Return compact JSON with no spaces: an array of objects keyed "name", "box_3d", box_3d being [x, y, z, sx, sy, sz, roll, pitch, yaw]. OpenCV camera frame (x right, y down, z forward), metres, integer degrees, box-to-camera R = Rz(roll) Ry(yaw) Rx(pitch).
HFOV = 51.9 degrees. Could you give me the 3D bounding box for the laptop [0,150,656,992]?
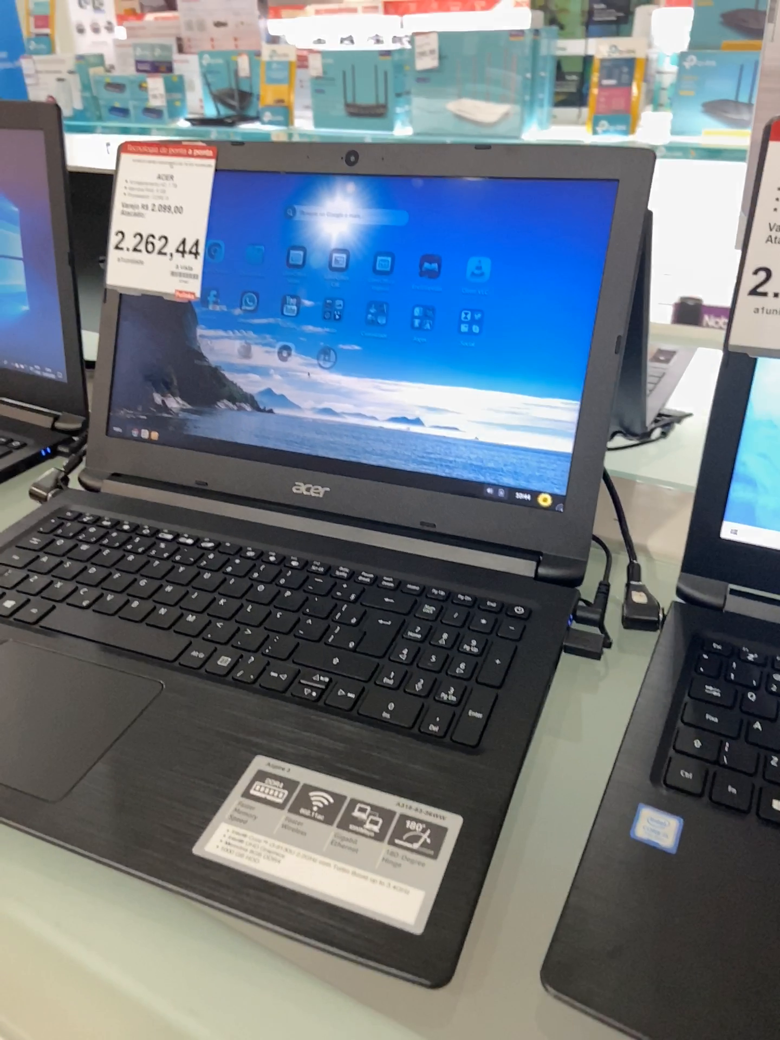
[{"name":"laptop","box_3d":[-0.093,-0.056,0.441,0.389,0.226,0.376,10,33,20]}]
